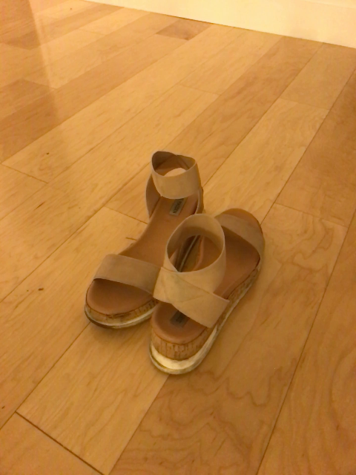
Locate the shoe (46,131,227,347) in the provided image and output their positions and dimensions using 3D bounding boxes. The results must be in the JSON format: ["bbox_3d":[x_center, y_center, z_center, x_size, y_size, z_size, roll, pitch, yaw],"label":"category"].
[{"bbox_3d":[-0.032,-0.016,0.503,0.100,0.109,0.272,18,48,17],"label":"shoe"}]

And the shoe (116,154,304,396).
[{"bbox_3d":[0.051,0.026,0.459,0.090,0.109,0.272,23,49,21],"label":"shoe"}]
